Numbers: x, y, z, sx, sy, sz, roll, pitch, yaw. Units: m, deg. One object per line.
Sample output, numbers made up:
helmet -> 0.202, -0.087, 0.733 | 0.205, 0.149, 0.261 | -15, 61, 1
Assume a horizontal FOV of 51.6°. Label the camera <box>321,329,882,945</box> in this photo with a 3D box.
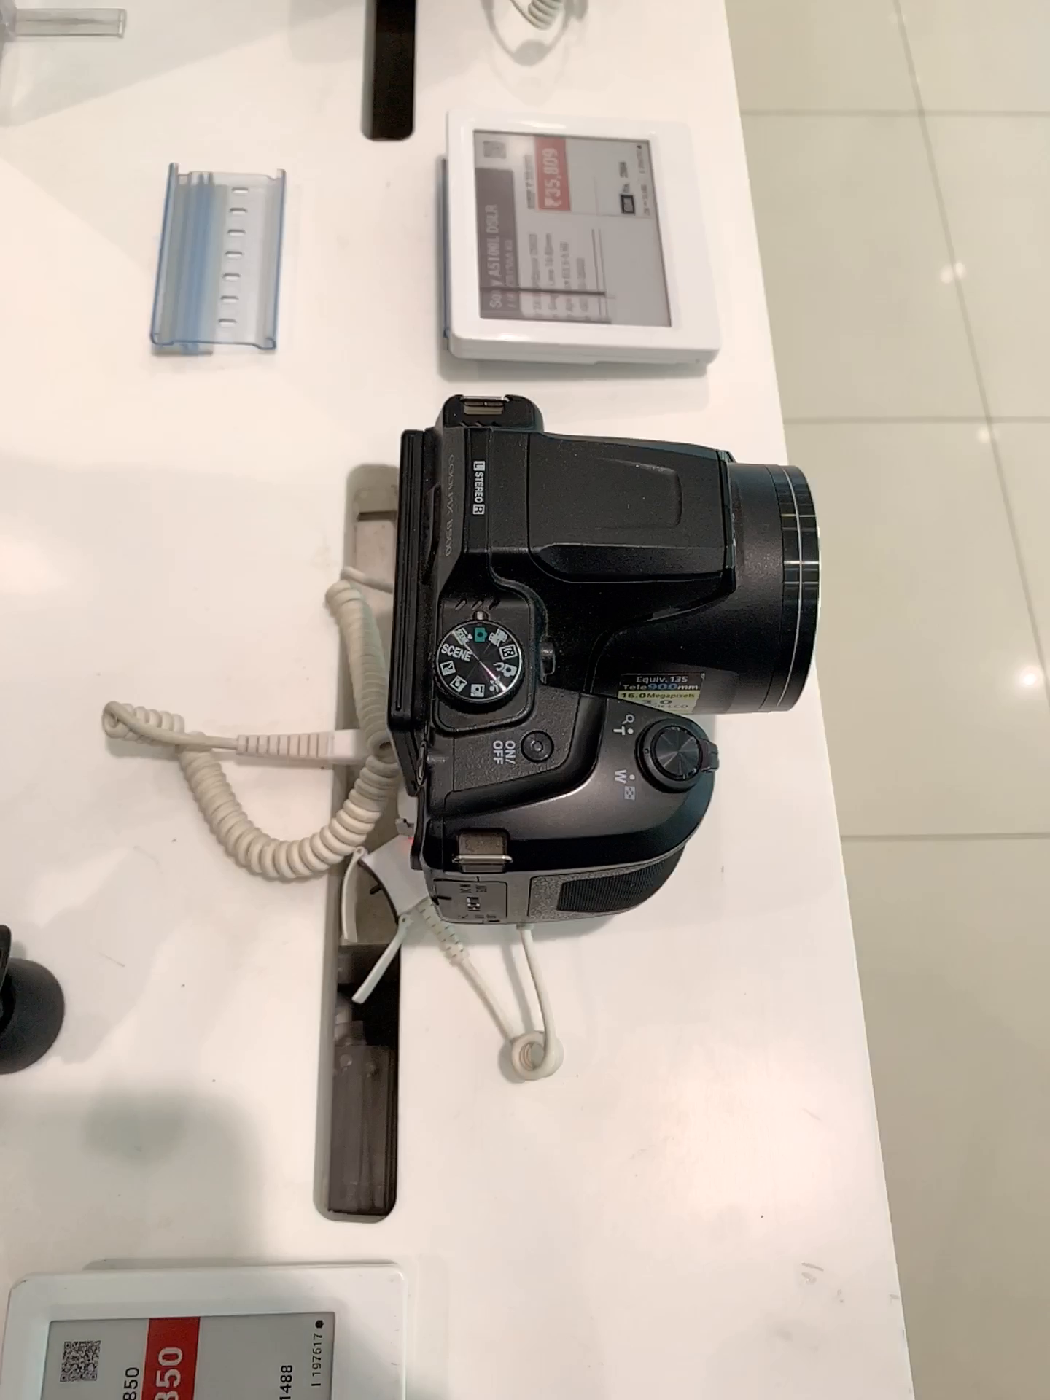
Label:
camera -> 0.012, -0.011, 0.254 | 0.100, 0.080, 0.120 | 0, 67, -1
